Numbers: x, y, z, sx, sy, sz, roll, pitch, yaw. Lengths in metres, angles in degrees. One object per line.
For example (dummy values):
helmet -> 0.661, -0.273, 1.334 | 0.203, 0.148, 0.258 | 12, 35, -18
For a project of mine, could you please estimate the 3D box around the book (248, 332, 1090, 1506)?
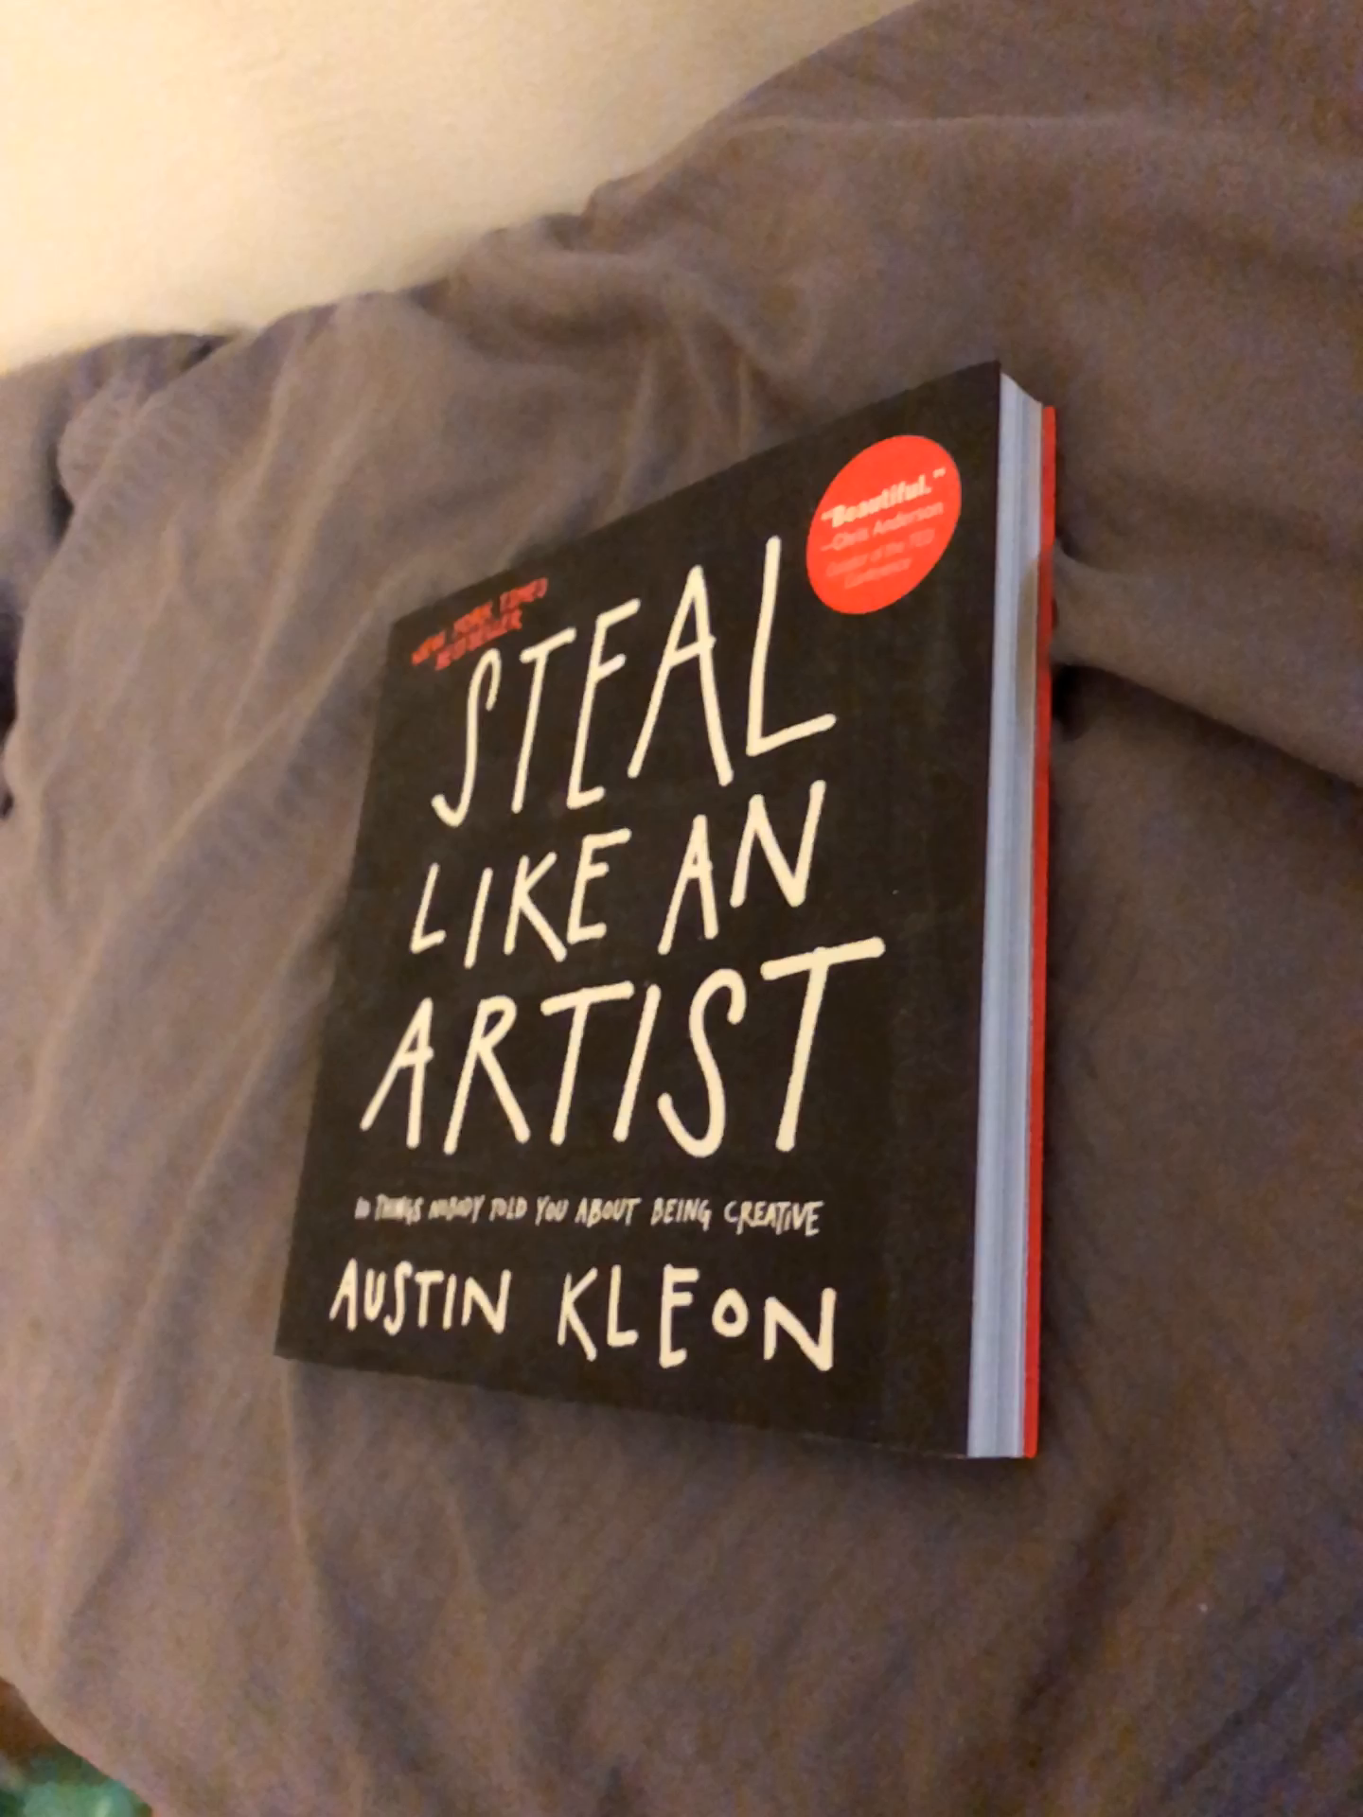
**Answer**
book -> -0.009, 0.005, 0.261 | 0.161, 0.020, 0.160 | -9, 69, 42
